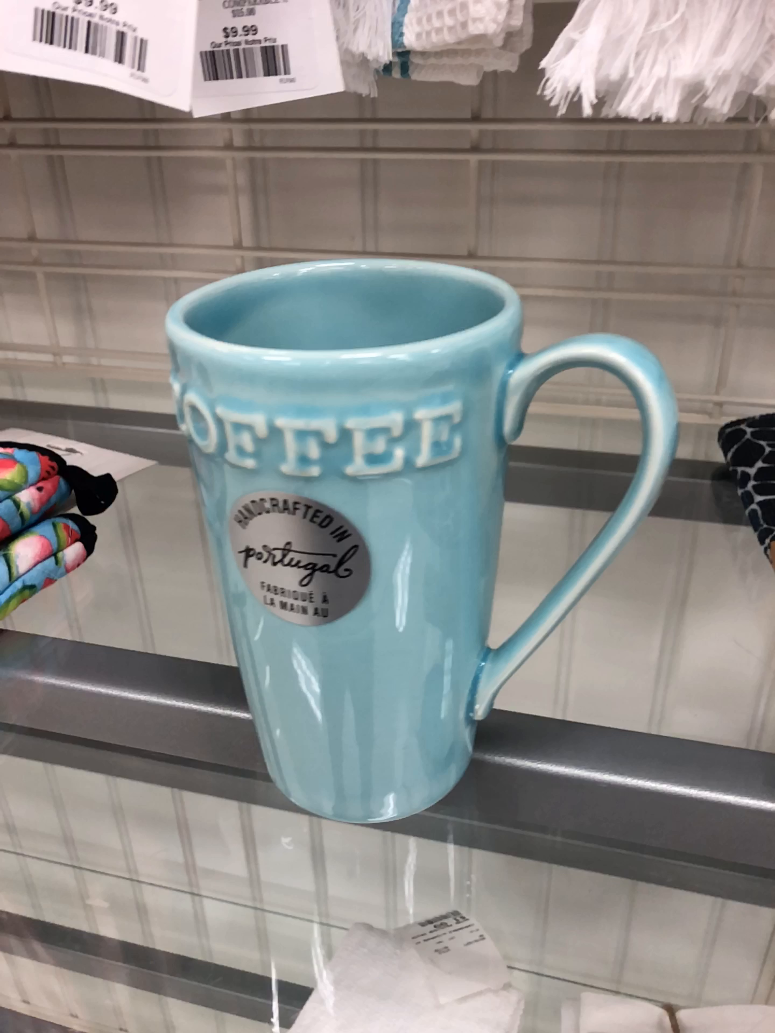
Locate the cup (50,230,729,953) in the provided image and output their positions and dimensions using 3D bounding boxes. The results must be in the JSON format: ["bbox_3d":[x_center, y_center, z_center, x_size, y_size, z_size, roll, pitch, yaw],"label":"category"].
[{"bbox_3d":[0.004,0.008,0.232,0.130,0.139,0.091,14,32,25],"label":"cup"}]
